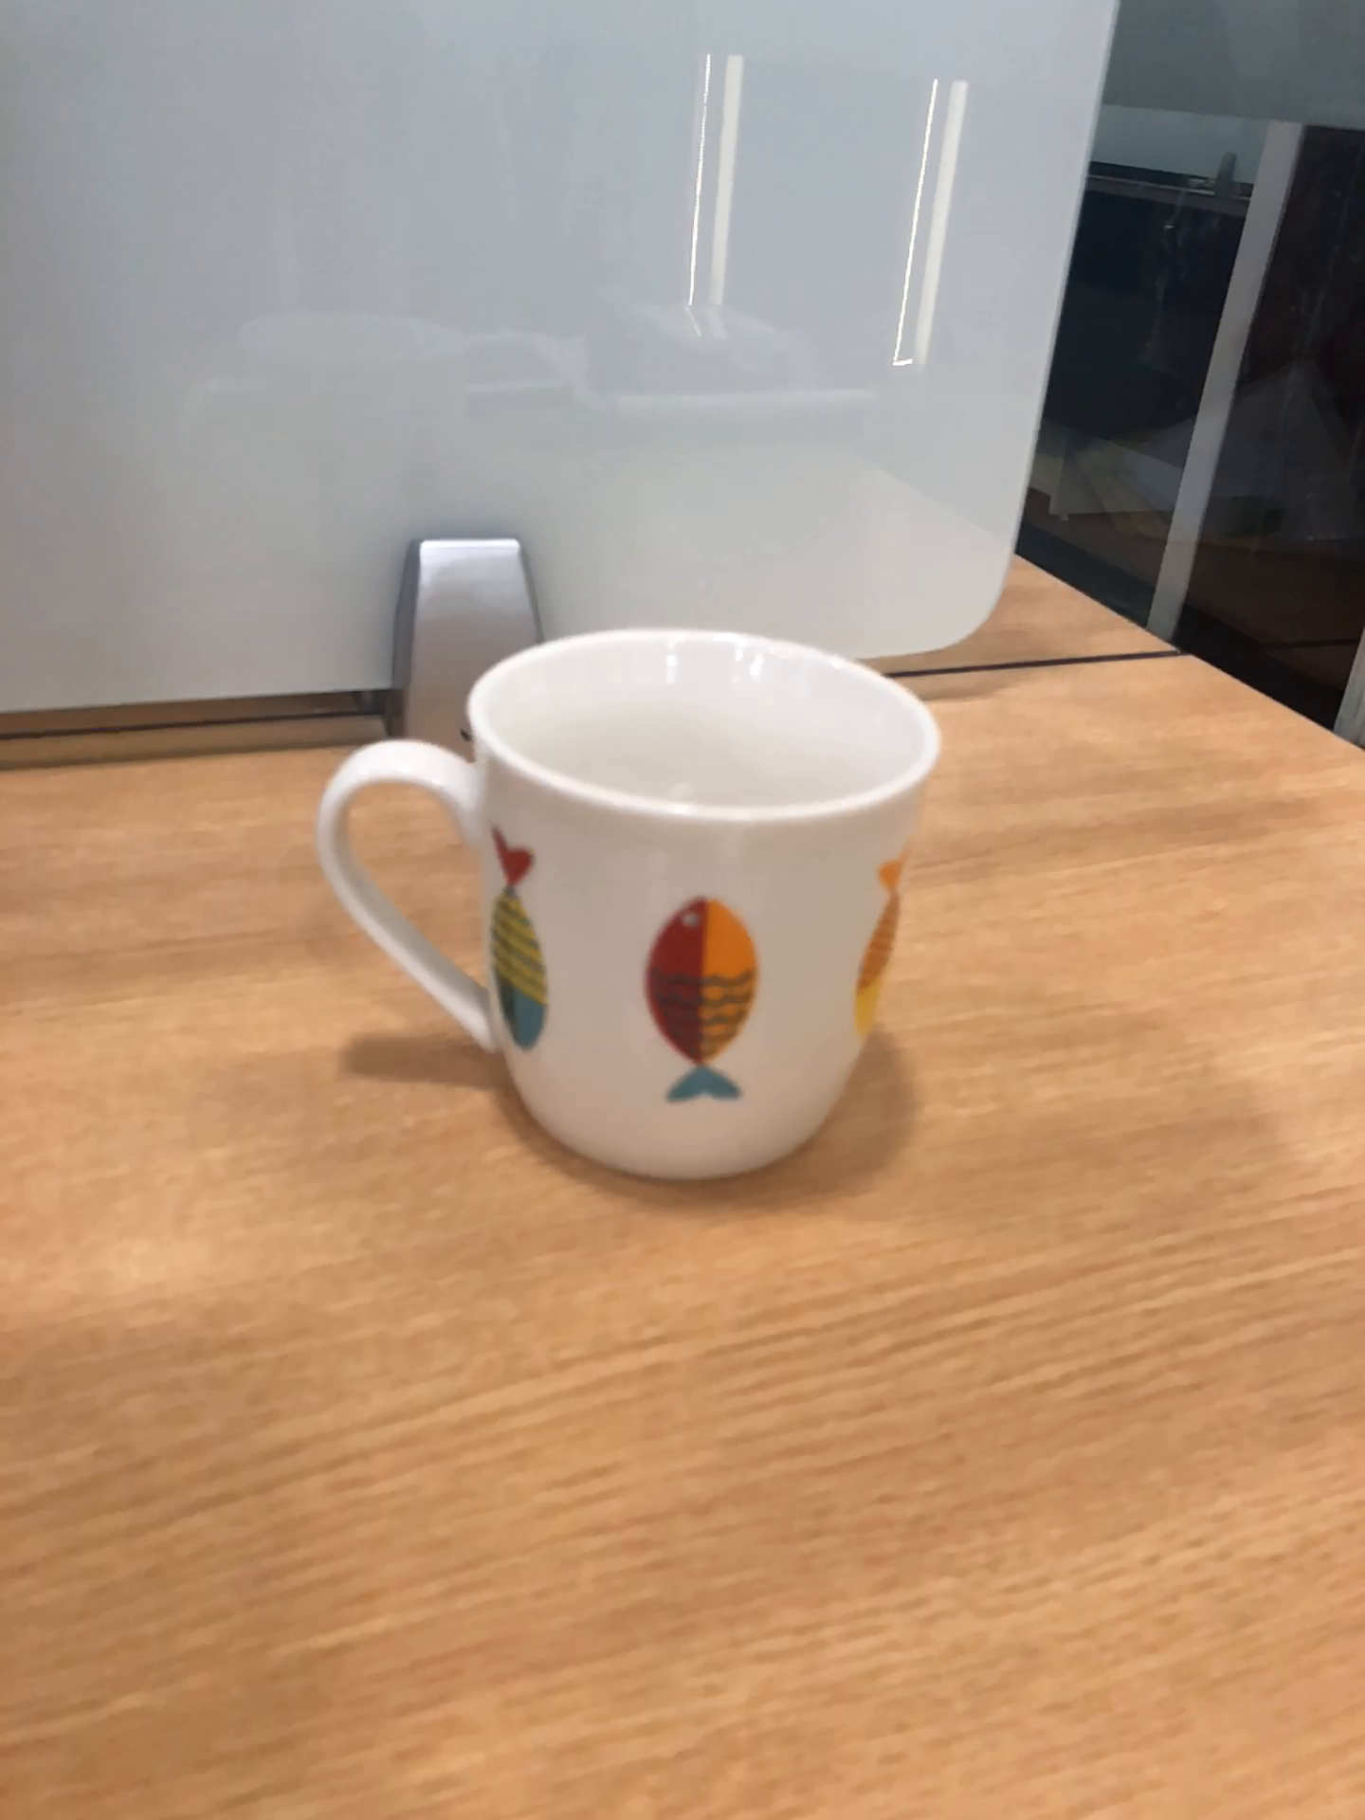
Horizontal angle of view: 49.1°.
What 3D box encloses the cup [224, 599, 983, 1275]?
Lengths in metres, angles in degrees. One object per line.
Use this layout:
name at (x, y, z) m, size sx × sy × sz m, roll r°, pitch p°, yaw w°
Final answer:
cup at (-0.015, 0.003, 0.273) m, size 0.110 × 0.090 × 0.080 m, roll 3°, pitch 29°, yaw -4°
